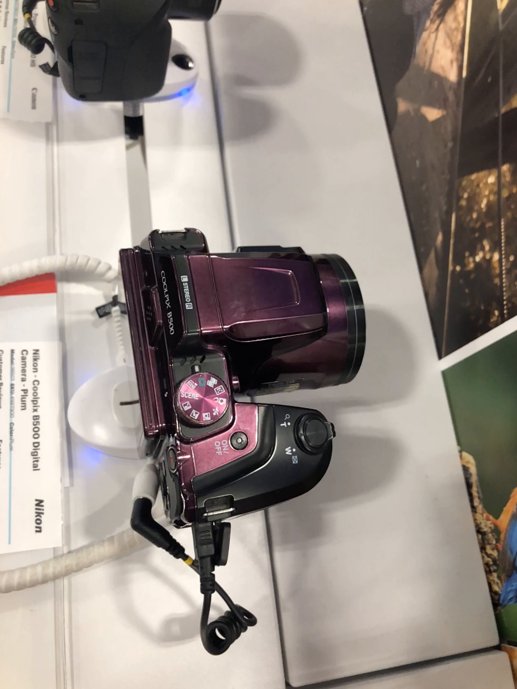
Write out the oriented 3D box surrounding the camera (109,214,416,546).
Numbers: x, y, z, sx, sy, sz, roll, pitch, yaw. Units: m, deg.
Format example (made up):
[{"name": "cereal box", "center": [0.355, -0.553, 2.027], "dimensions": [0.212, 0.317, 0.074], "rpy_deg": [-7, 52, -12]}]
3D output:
[{"name": "camera", "center": [-0.006, 0.014, 0.250], "dimensions": [0.100, 0.060, 0.120], "rpy_deg": [-6, 73, -17]}]
